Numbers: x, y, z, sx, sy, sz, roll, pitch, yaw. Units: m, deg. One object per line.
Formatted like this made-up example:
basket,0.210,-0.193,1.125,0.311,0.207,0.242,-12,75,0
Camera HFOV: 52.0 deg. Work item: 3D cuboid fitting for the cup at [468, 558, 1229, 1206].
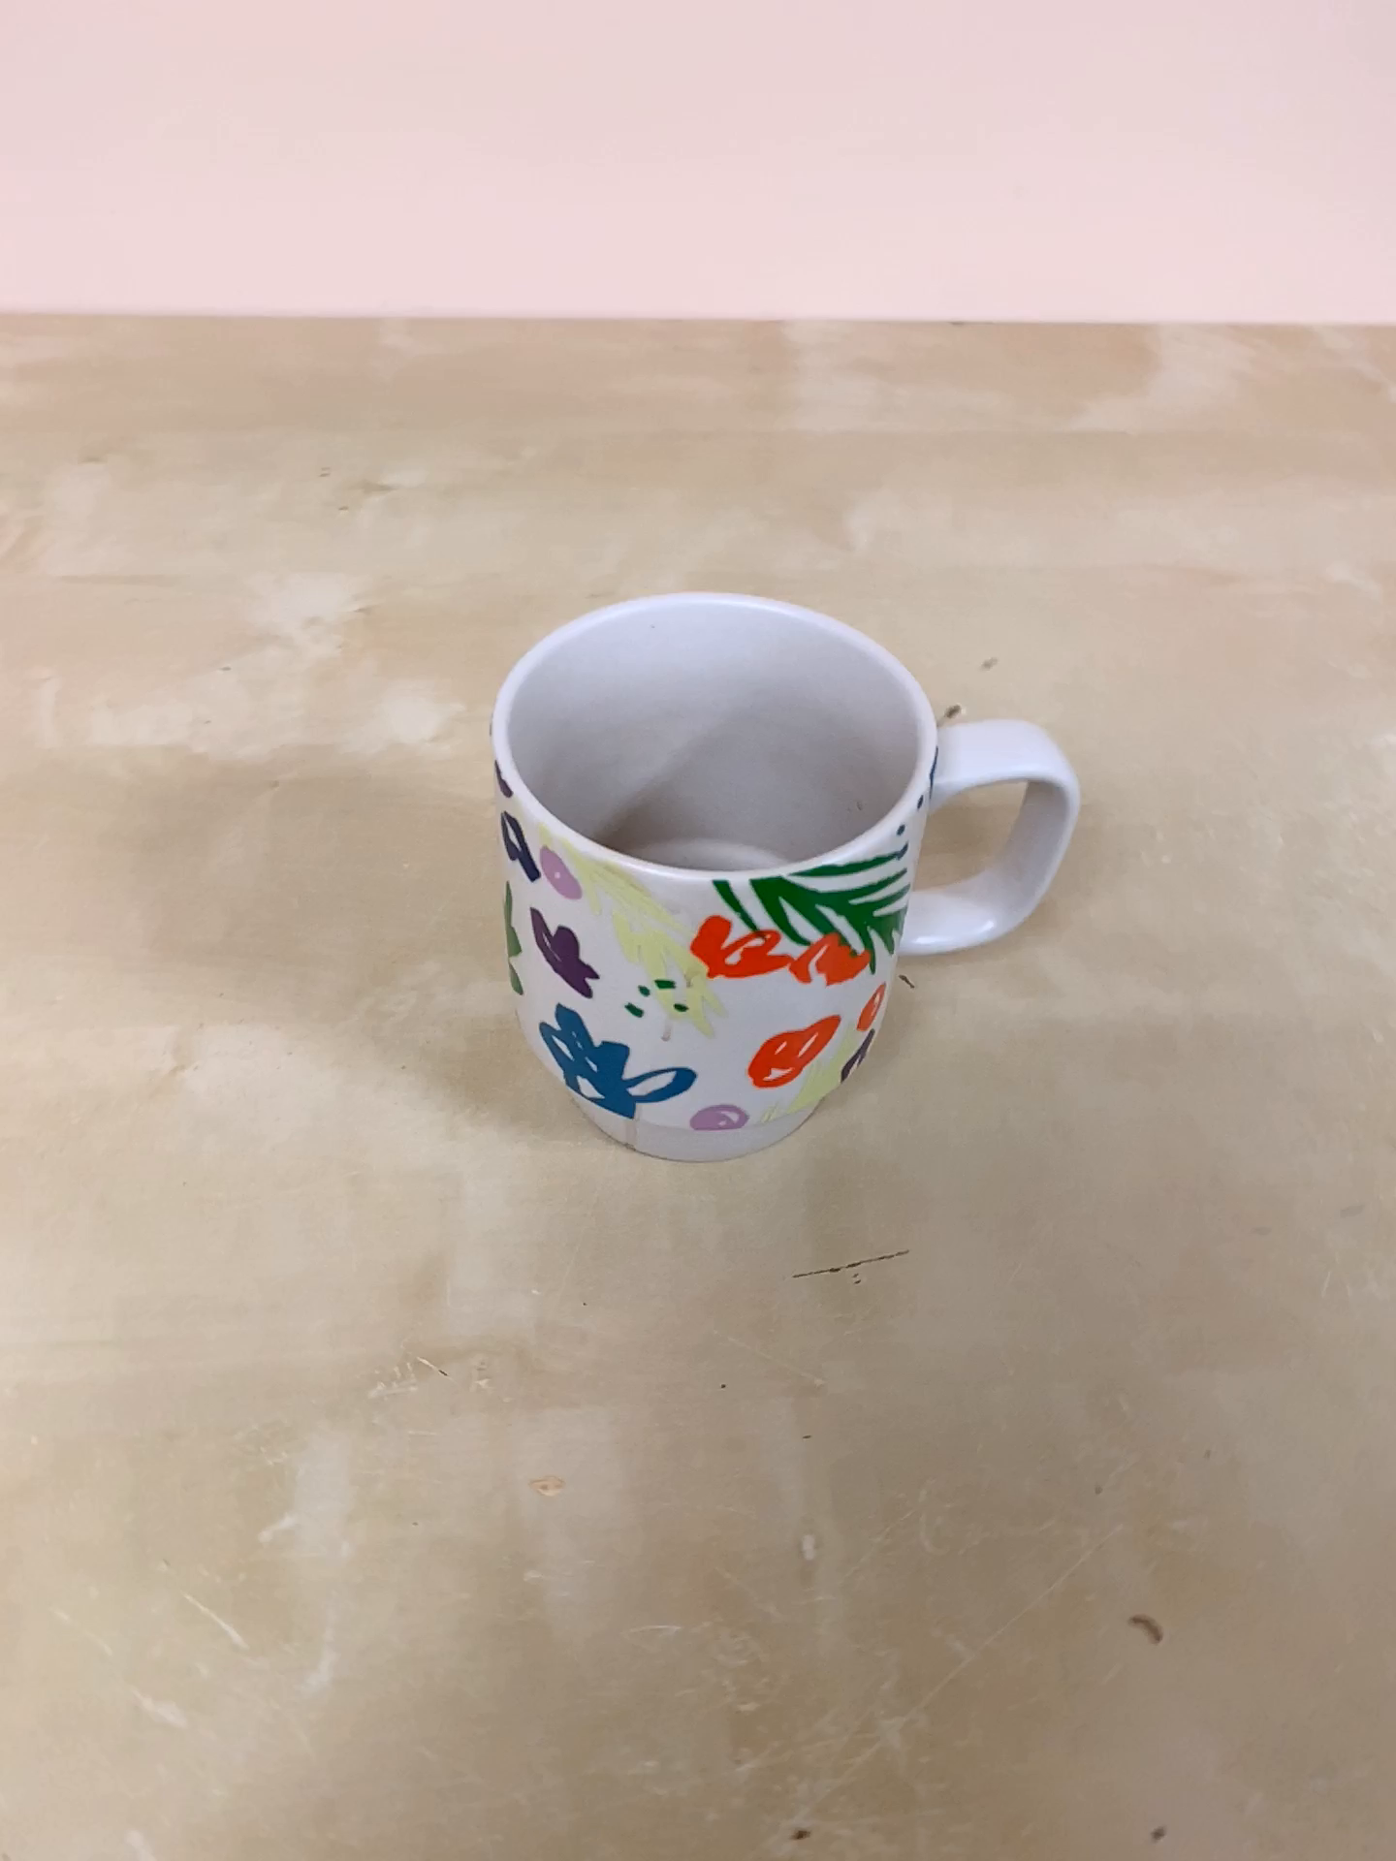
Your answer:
cup,0.022,-0.011,0.307,0.127,0.095,0.082,-7,49,-10
